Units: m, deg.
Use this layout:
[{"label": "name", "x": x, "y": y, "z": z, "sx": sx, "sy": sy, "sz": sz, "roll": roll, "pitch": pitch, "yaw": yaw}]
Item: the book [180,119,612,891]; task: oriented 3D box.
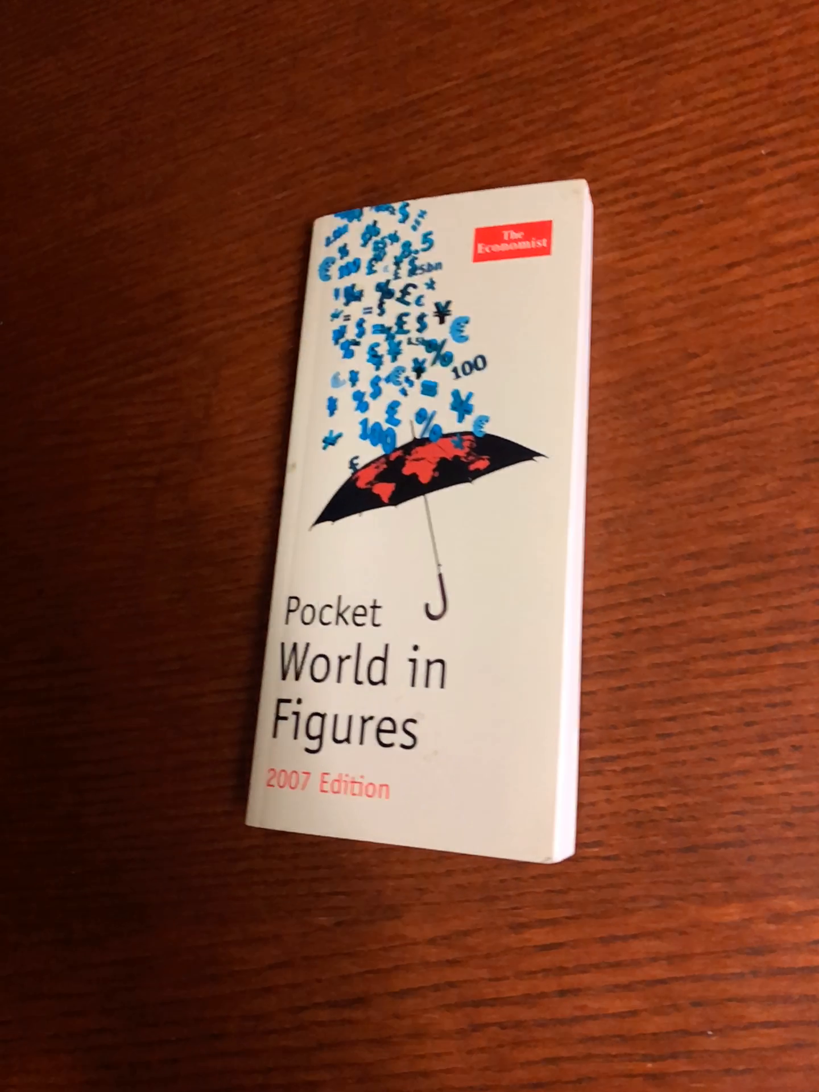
[{"label": "book", "x": 0.000, "y": -0.016, "z": 0.258, "sx": 0.100, "sy": 0.030, "sz": 0.200, "roll": 0, "pitch": 76, "yaw": 22}]
